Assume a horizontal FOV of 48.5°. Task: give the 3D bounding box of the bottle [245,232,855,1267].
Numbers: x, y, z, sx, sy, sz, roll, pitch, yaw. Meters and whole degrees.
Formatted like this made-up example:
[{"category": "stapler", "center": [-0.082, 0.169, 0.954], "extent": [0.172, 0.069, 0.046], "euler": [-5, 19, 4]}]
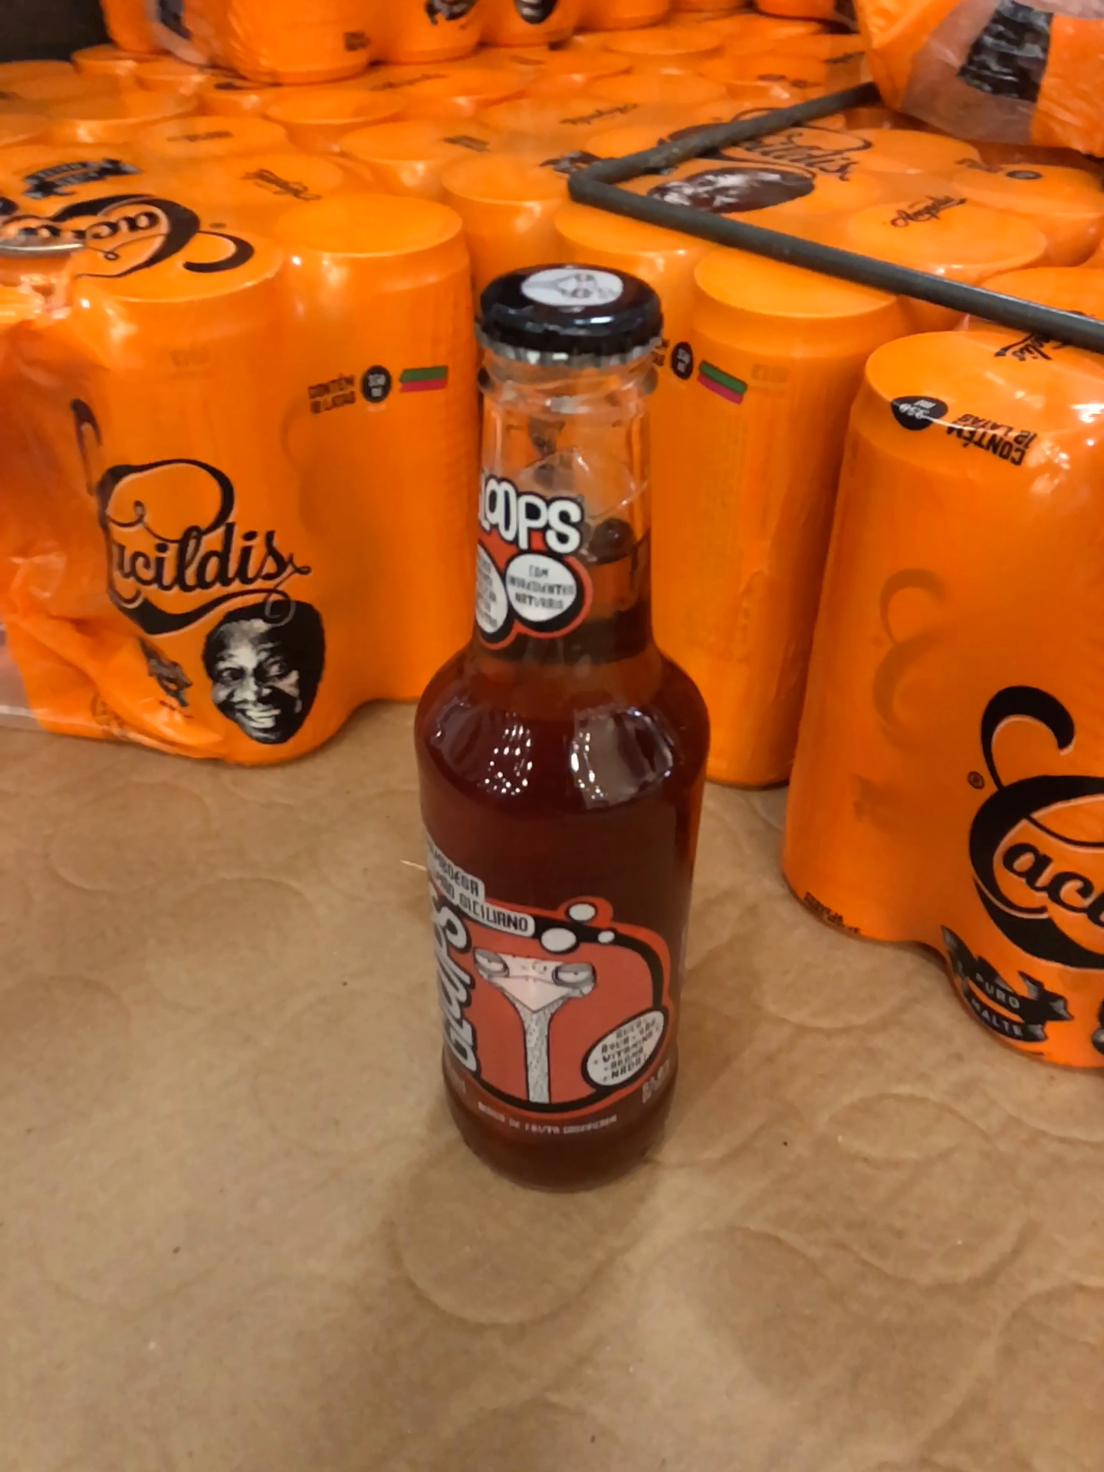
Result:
[{"category": "bottle", "center": [0.001, 0.015, 0.231], "extent": [0.070, 0.189, 0.050], "euler": [19, 43, 22]}]
